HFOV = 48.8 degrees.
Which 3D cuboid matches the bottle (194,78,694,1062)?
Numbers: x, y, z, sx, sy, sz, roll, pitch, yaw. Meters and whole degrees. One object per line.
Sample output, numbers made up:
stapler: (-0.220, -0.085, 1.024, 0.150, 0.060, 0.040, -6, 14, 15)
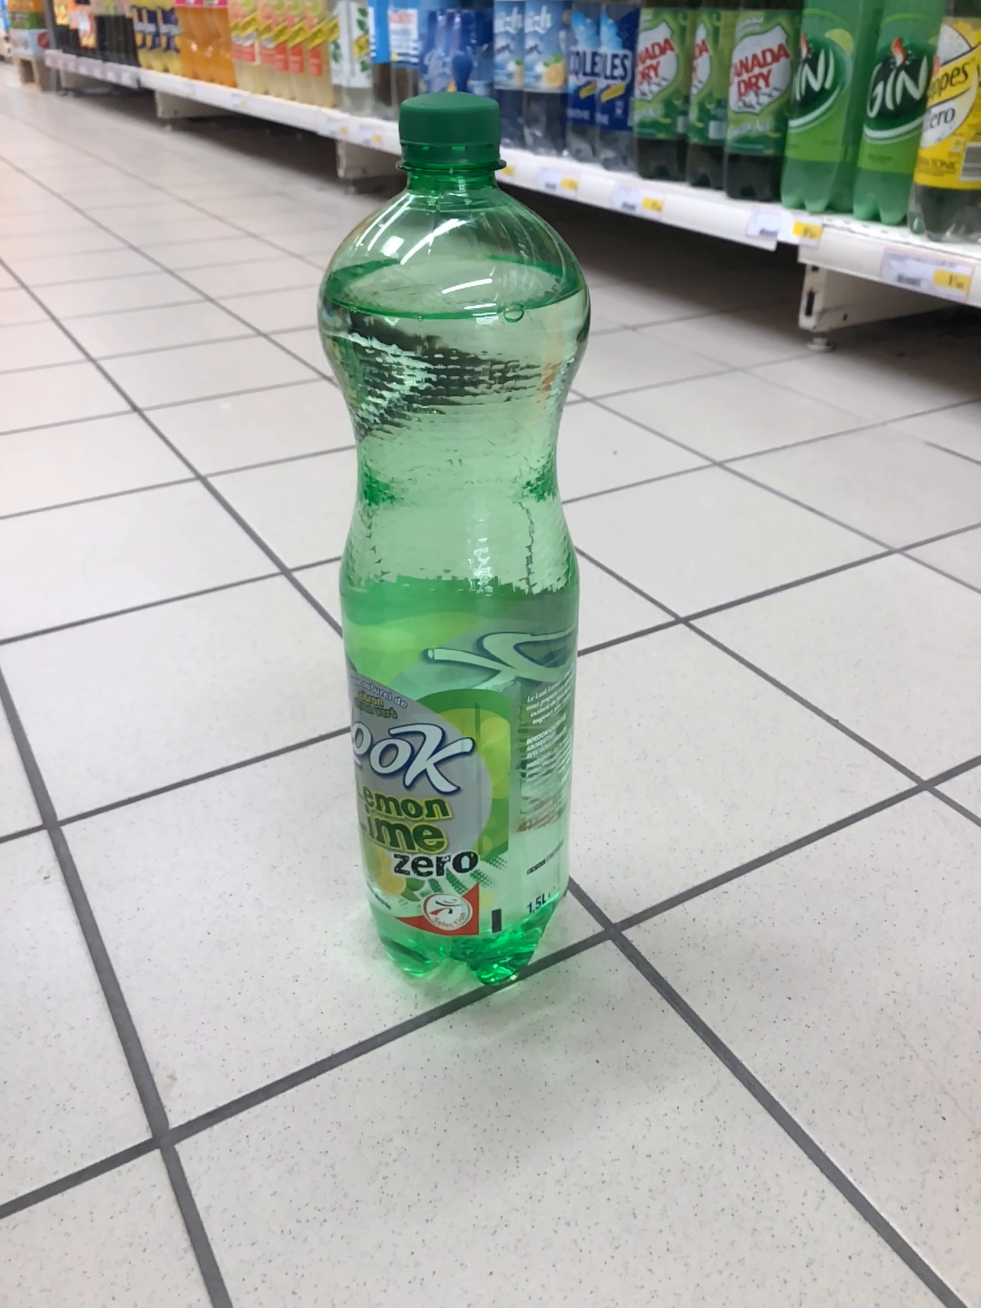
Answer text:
bottle: (-0.011, -0.021, 0.385, 0.100, 0.318, 0.101, 0, 30, 0)
